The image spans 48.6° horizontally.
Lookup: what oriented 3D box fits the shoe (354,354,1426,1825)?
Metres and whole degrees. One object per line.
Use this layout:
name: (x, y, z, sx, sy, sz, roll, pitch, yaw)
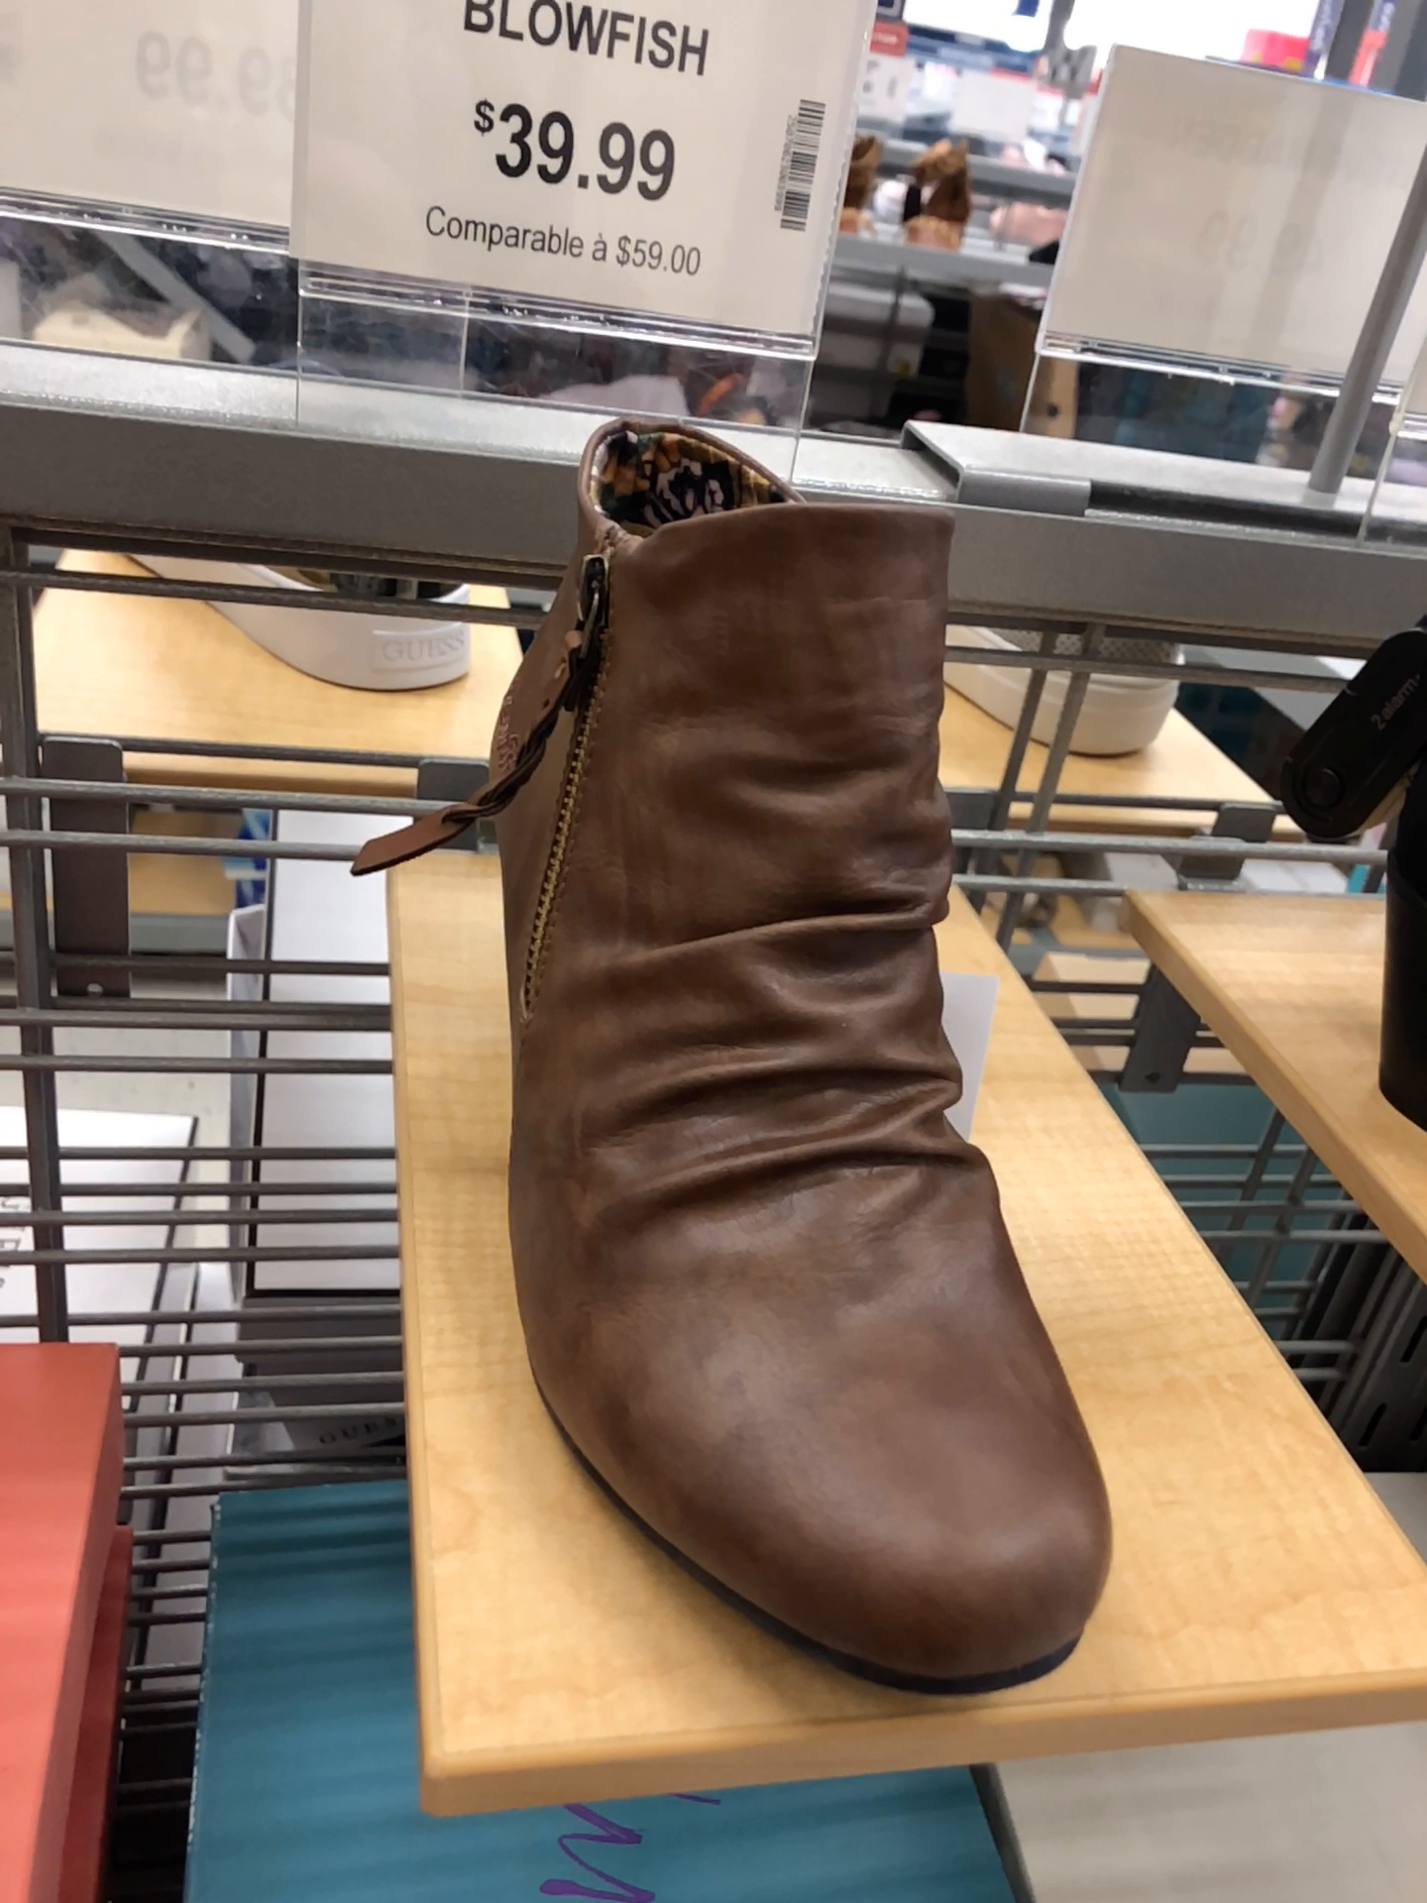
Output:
shoe: (-0.002, -0.005, 0.283, 0.090, 0.139, 0.232, -1, 31, -20)
